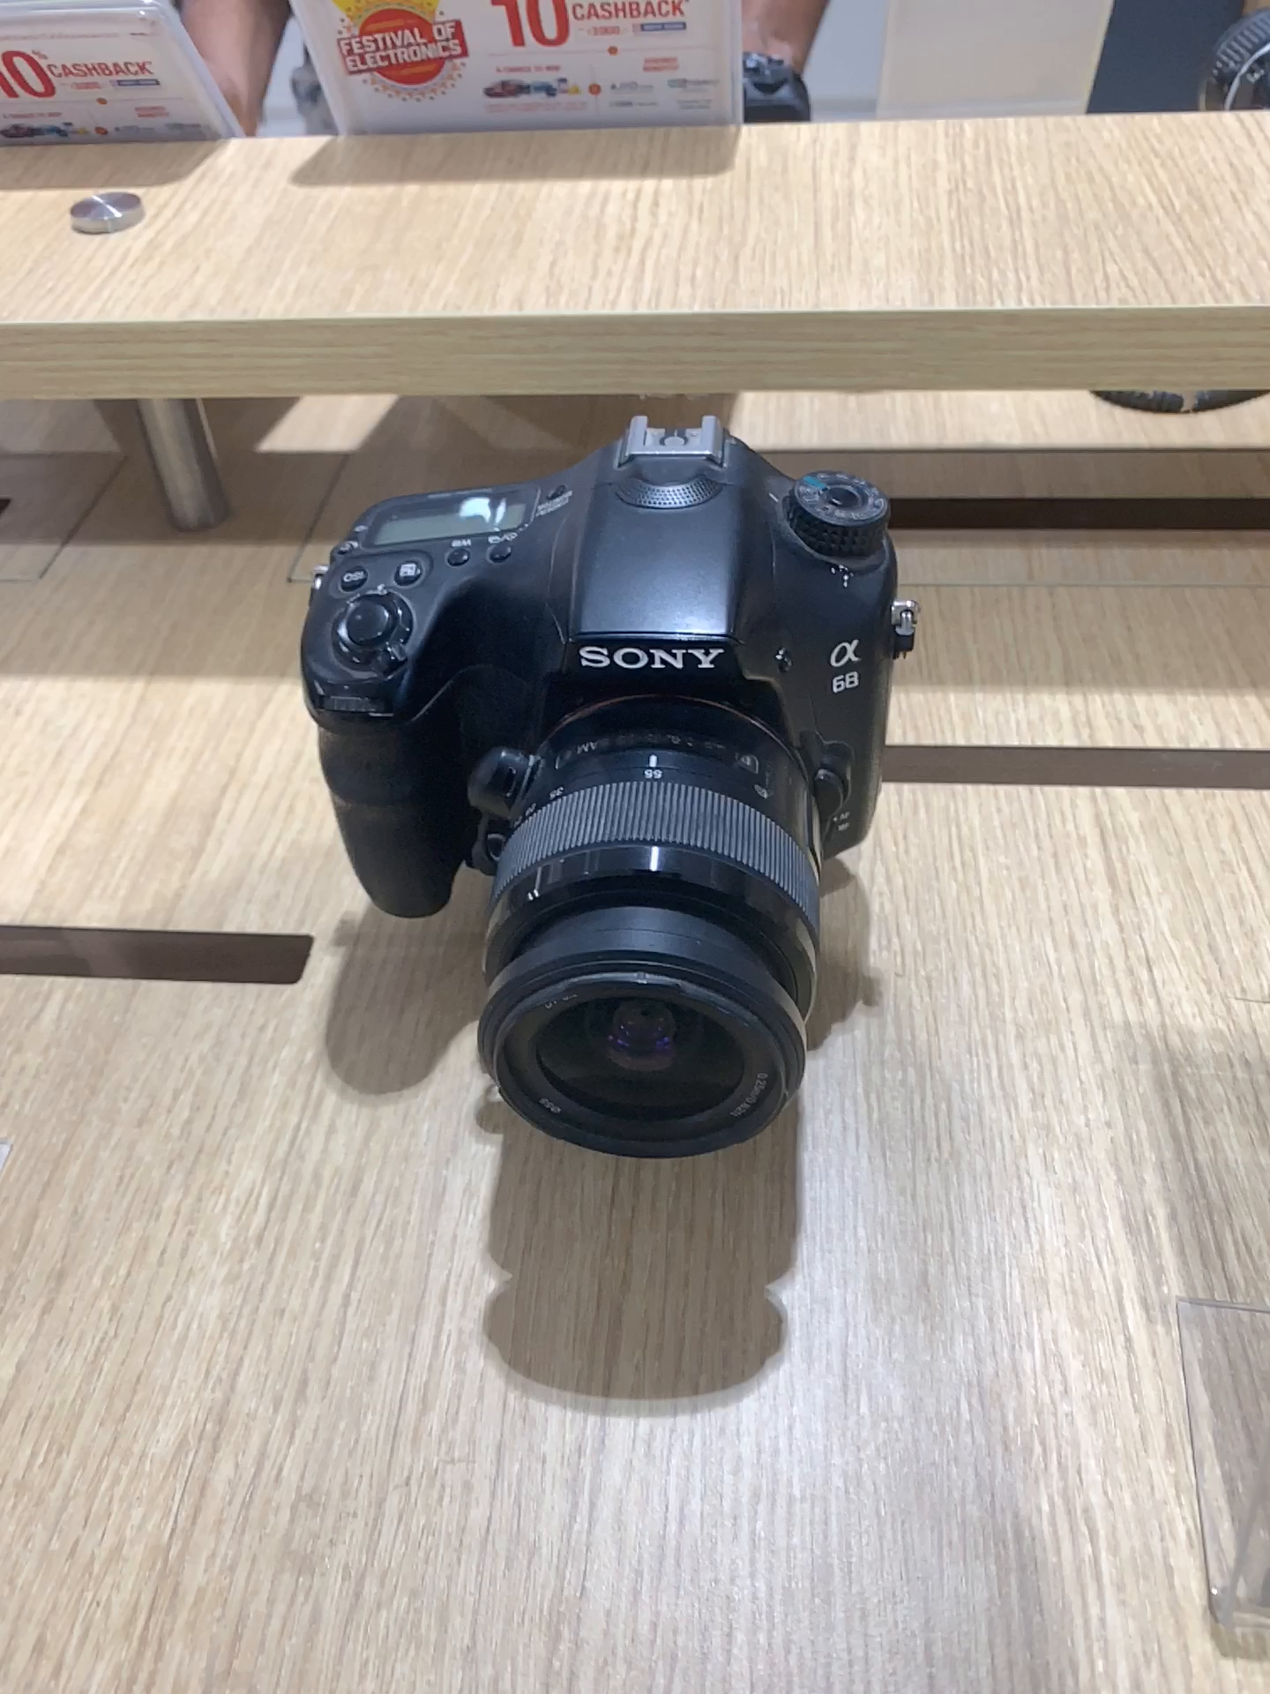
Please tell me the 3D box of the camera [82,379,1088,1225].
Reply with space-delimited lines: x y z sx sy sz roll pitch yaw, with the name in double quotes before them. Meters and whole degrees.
"camera" 0.000 -0.018 0.282 0.150 0.100 0.150 2 45 6
